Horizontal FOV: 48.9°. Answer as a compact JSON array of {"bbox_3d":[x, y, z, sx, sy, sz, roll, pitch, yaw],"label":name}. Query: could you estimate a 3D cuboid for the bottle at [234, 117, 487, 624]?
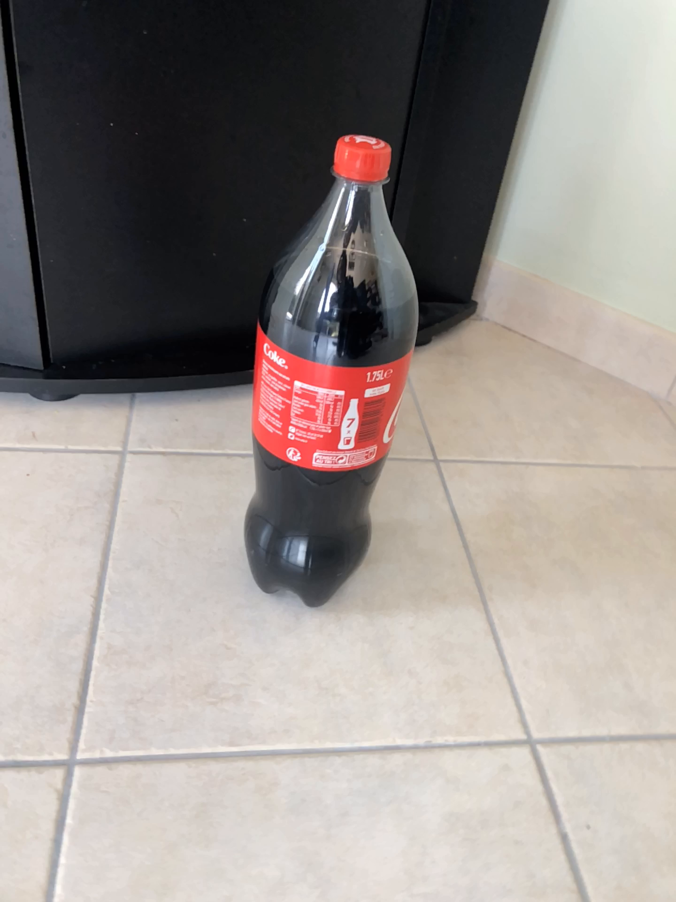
[{"bbox_3d":[-0.007,-0.034,0.483,0.100,0.308,0.111,0,39,-12],"label":"bottle"}]
